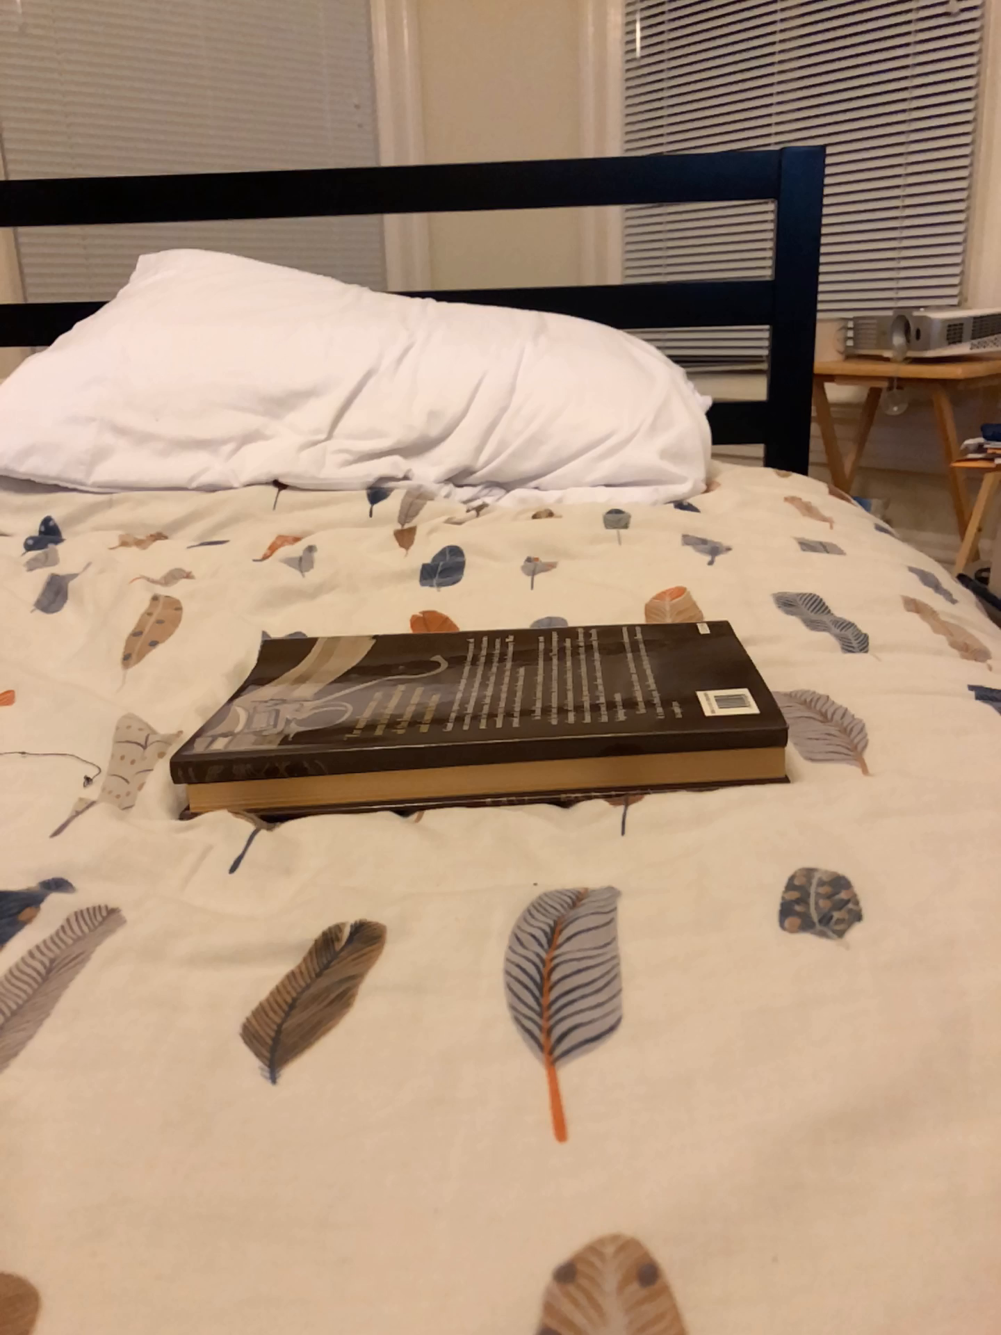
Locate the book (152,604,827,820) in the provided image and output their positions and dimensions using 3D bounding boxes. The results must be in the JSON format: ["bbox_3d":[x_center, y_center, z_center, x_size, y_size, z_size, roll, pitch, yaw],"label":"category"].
[{"bbox_3d":[-0.002,0.012,0.481,0.240,0.030,0.181,-1,17,2],"label":"book"}]
